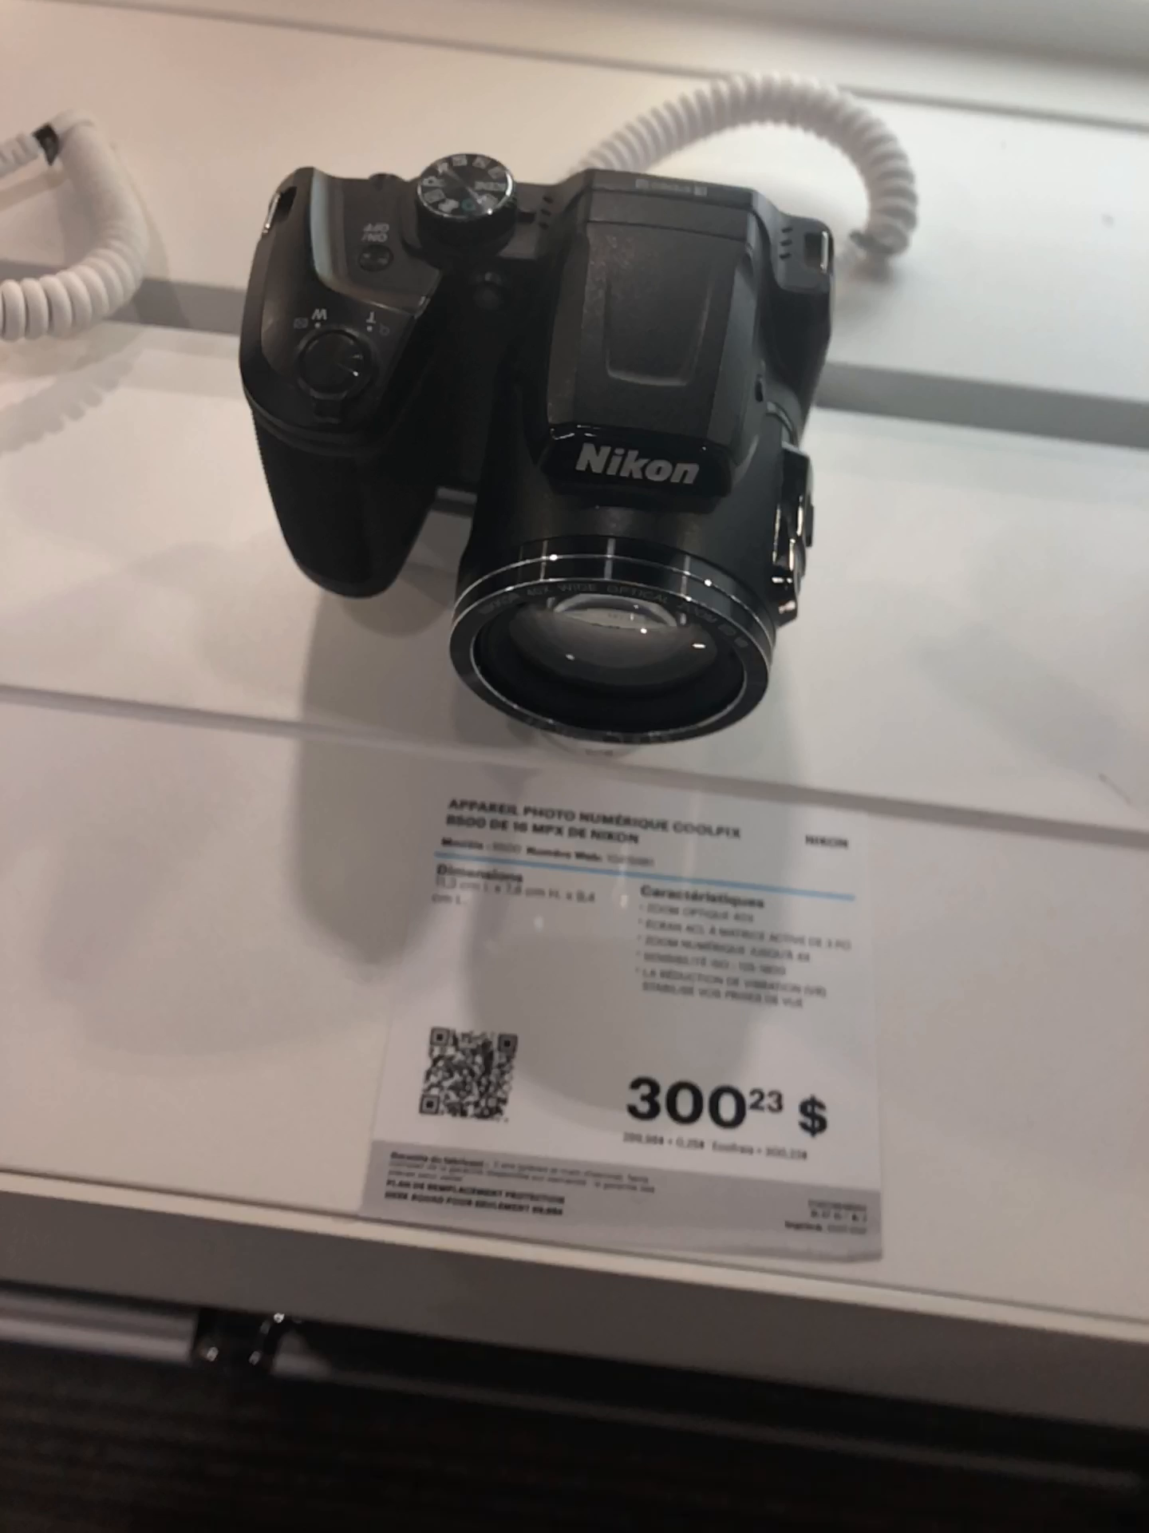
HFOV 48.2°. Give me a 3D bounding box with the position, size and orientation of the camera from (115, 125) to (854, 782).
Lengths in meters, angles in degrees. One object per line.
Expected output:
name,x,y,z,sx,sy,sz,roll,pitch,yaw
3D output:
camera,-0.011,-0.057,0.242,0.111,0.069,0.085,7,59,0
